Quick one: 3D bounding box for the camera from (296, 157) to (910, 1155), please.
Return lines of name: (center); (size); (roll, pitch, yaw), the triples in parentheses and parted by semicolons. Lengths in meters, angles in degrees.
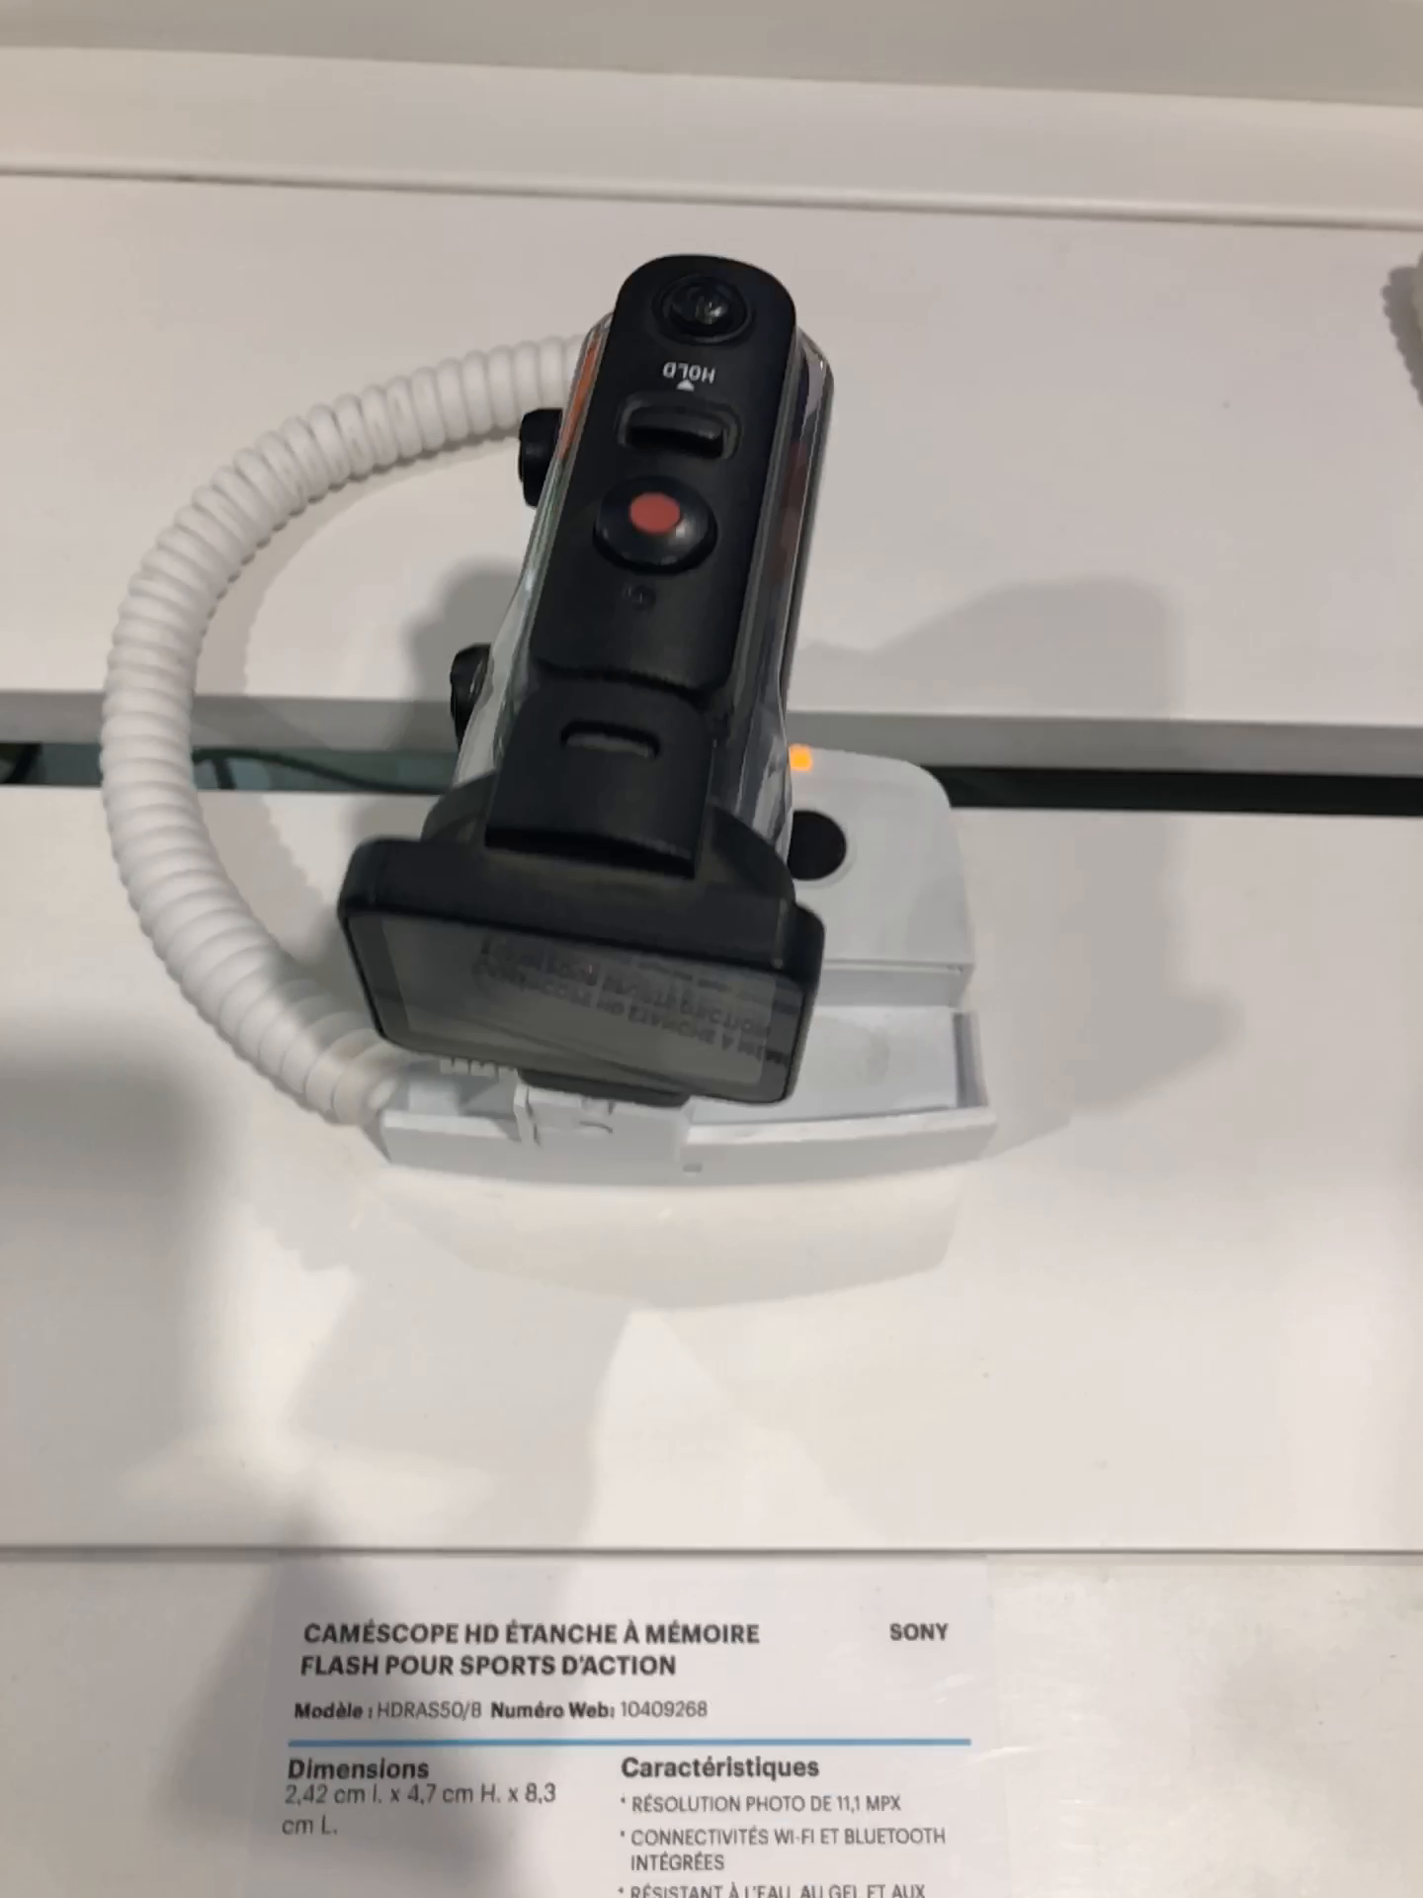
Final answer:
camera: (-0.009, -0.028, 0.182); (0.045, 0.064, 0.087); (8, 72, 1)
